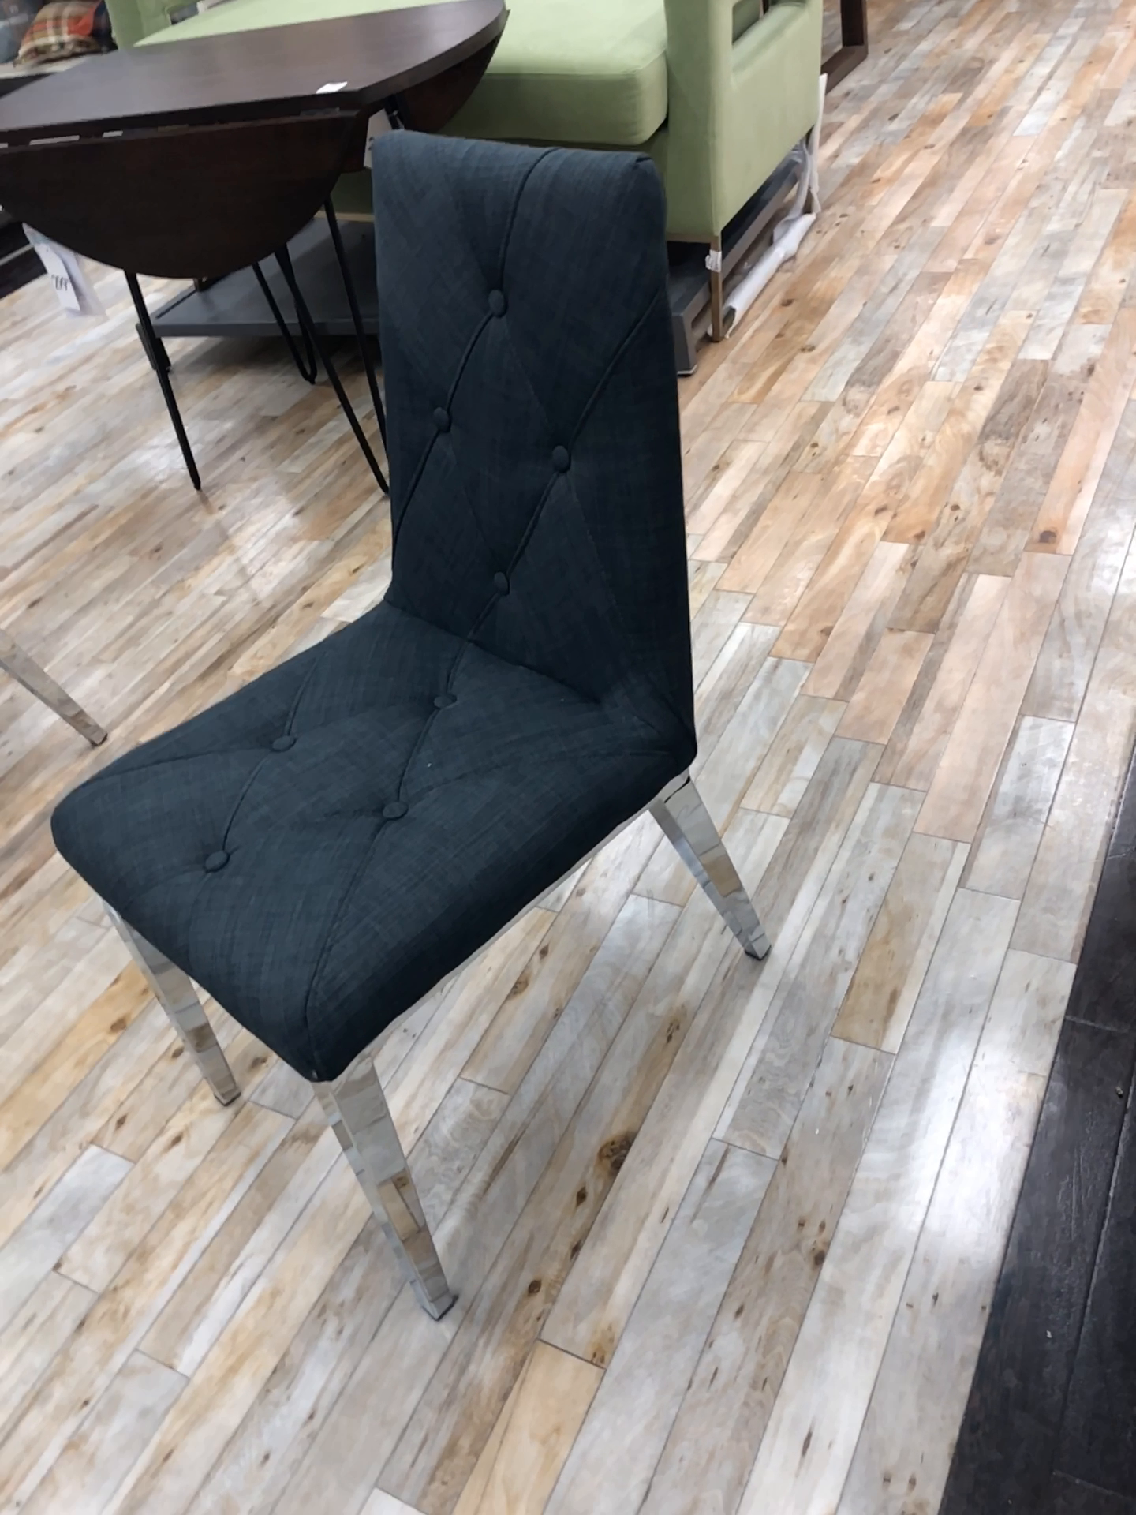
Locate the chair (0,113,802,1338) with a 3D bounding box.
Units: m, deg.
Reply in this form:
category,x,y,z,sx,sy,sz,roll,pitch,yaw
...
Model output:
category,x,y,z,sx,sy,sz,roll,pitch,yaw
chair,-0.170,-0.029,1.158,0.580,0.866,0.452,-39,45,-27
